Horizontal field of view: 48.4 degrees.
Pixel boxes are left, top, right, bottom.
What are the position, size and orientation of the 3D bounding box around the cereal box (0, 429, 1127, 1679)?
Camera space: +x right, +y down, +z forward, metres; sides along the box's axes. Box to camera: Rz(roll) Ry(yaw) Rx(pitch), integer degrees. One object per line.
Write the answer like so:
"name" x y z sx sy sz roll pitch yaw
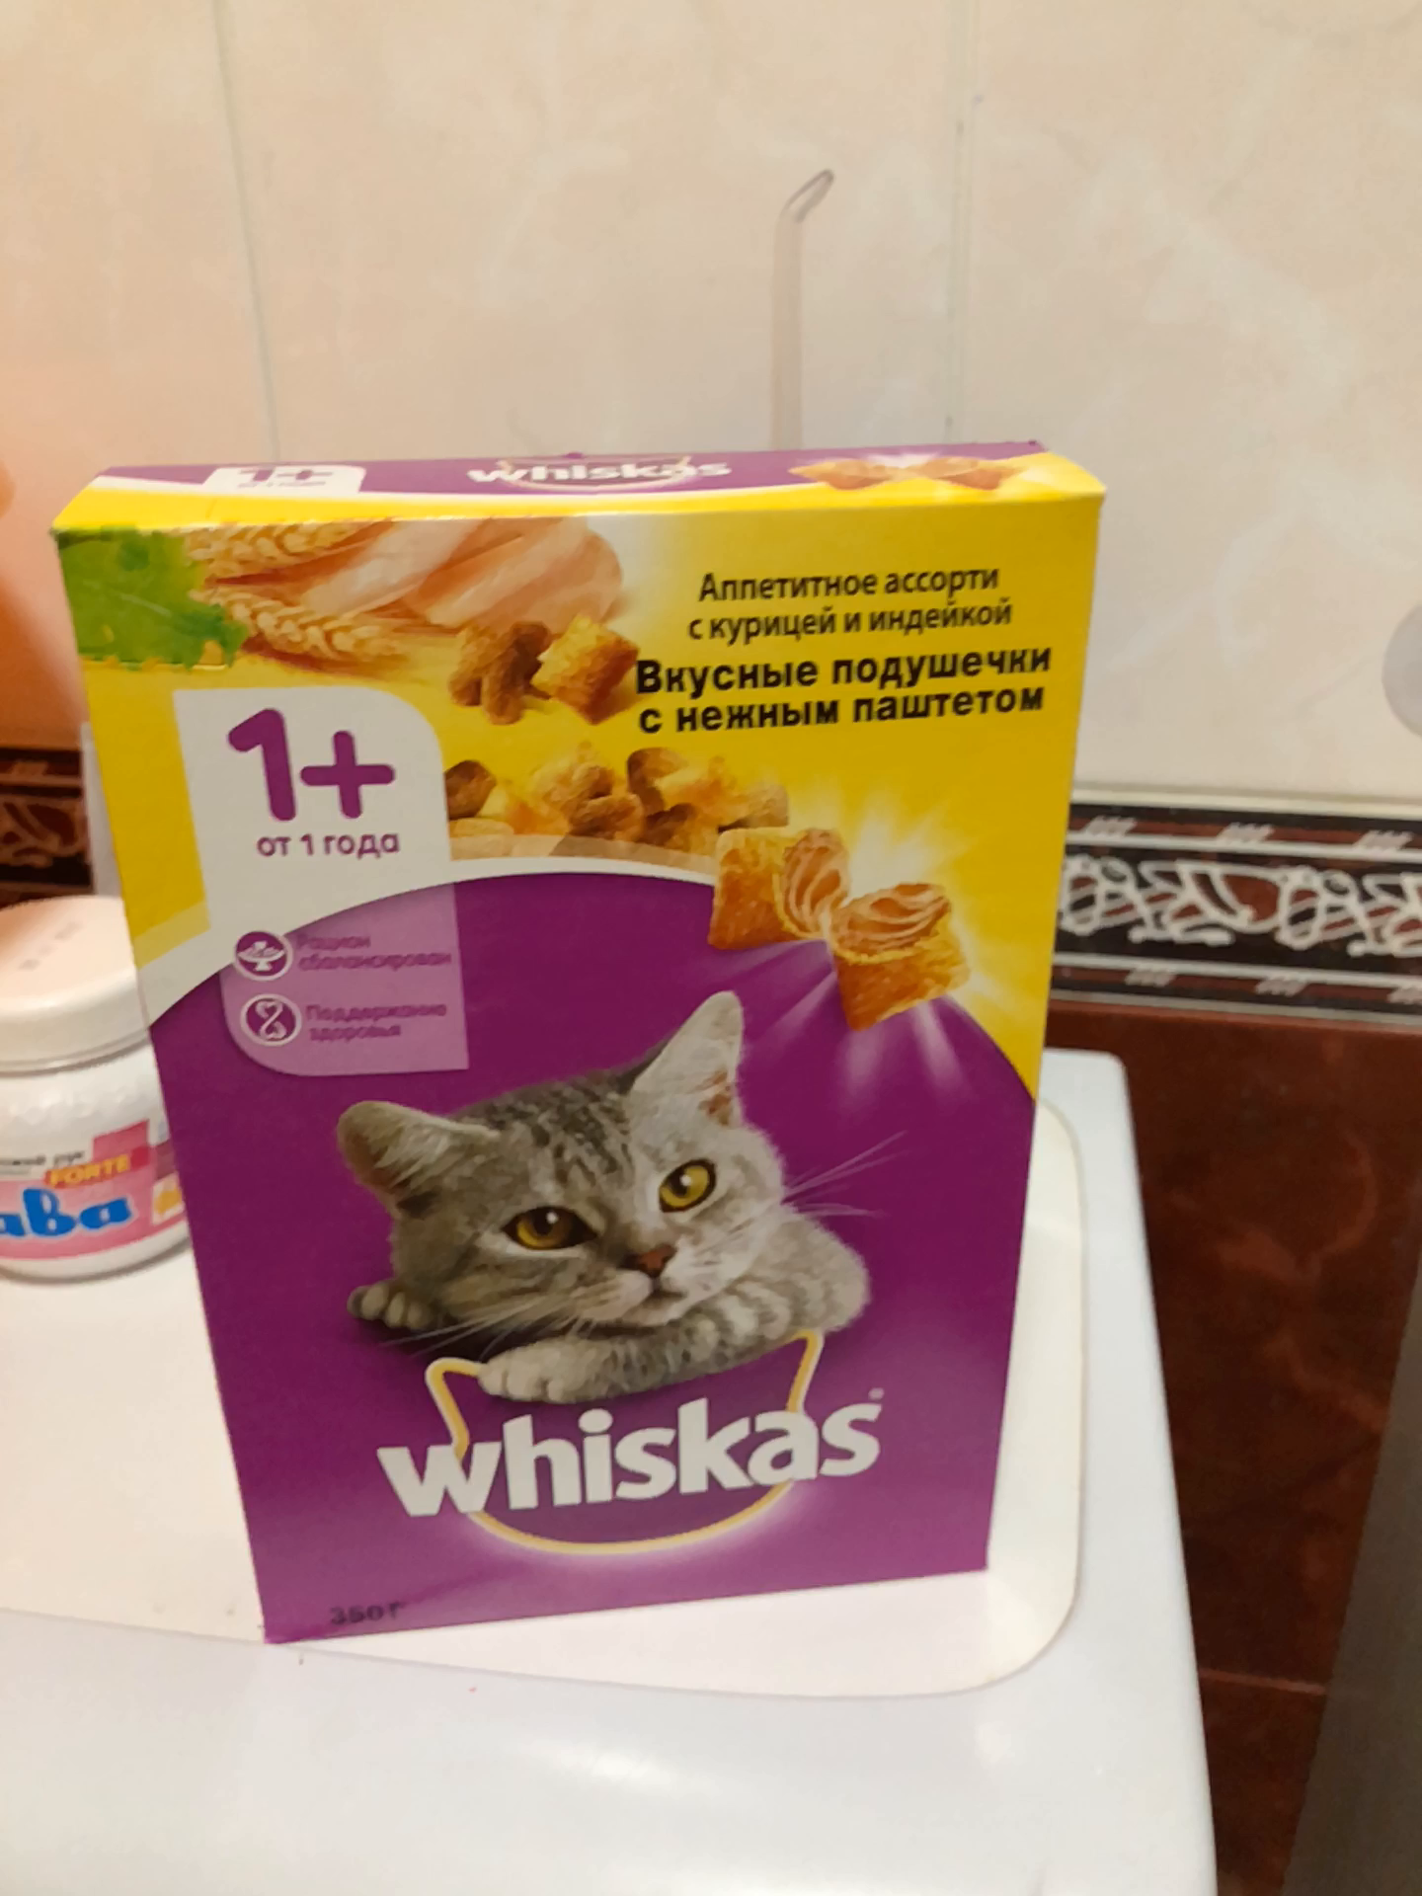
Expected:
"cereal box" -0.017 0.029 0.279 0.150 0.219 0.040 -4 28 -6
